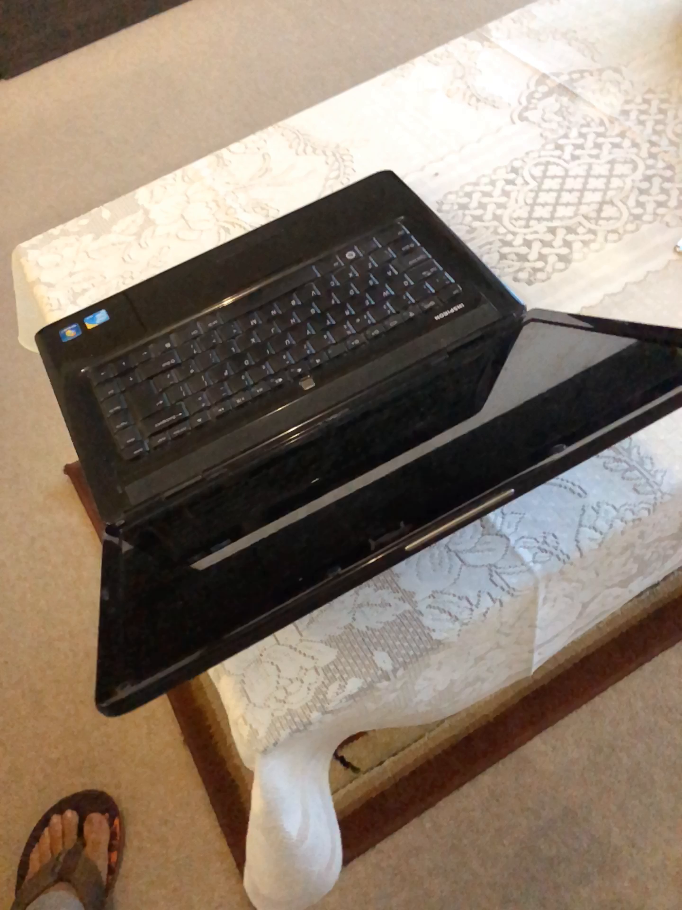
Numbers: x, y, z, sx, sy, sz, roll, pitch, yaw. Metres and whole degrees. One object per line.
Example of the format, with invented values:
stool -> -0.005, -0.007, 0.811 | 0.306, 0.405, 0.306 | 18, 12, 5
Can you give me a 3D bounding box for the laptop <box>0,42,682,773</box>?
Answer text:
laptop -> -0.029, -0.079, 0.521 | 0.364, 0.122, 0.420 | -28, 55, -8
